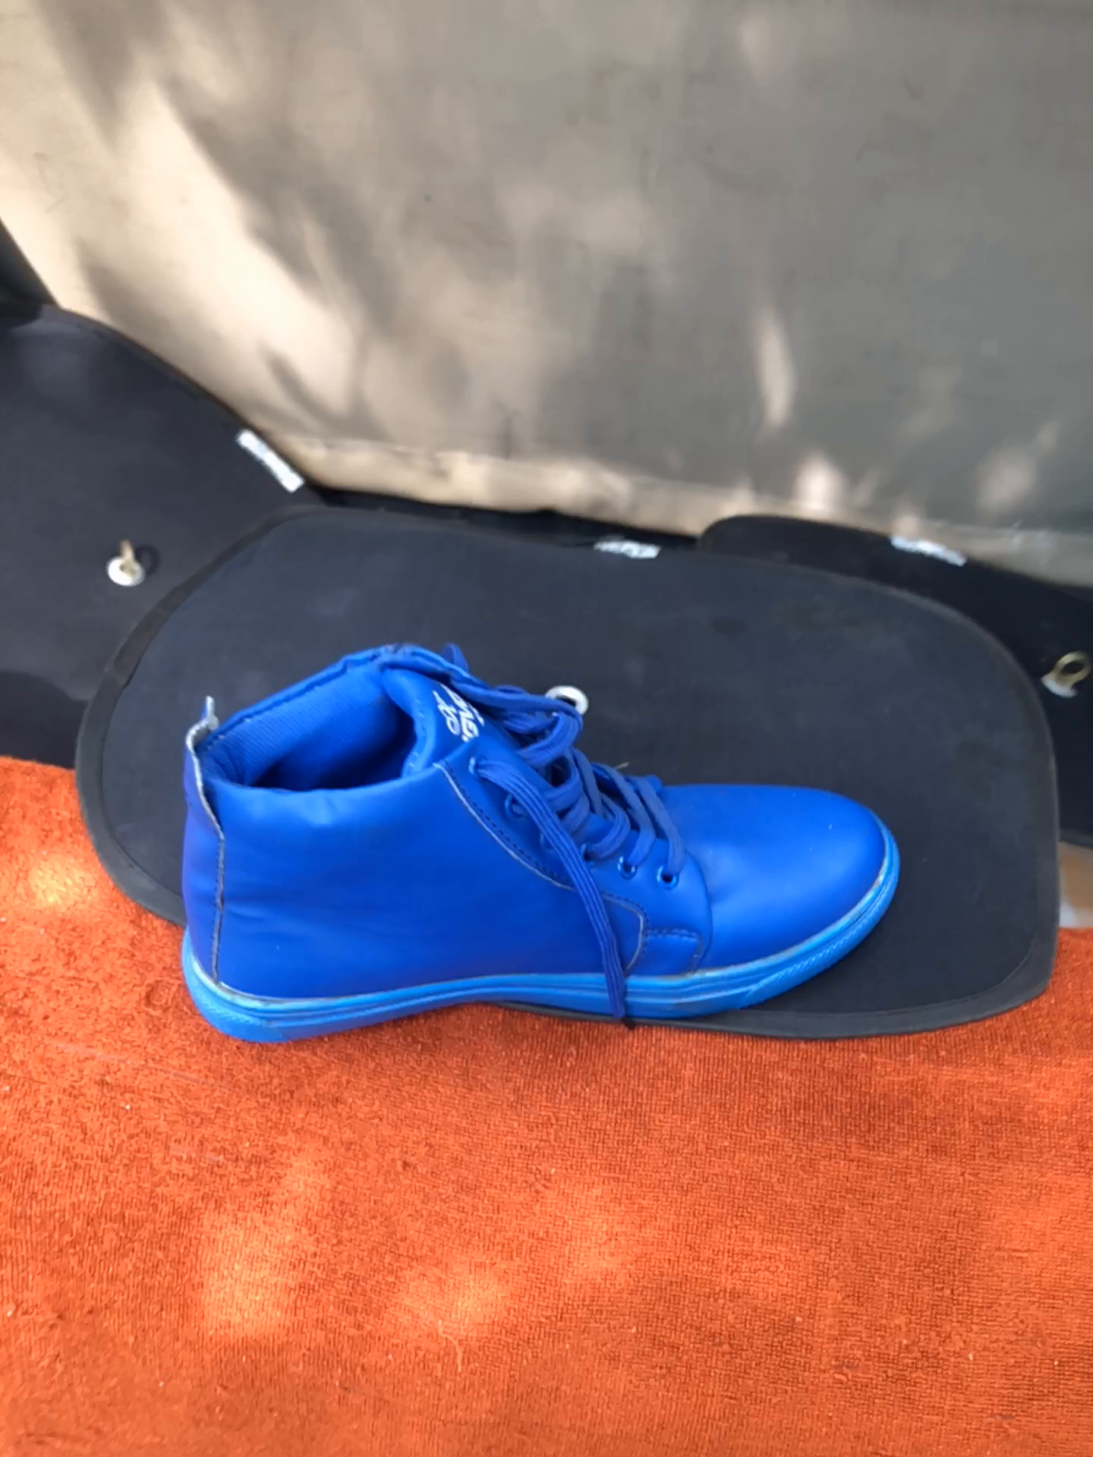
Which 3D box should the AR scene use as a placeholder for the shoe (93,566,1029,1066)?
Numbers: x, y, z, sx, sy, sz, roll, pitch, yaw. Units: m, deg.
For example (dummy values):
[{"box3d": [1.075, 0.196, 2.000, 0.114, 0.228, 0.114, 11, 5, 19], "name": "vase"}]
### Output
[{"box3d": [0.001, 0.030, 0.473, 0.300, 0.119, 0.131, -3, 45, -7], "name": "shoe"}]
